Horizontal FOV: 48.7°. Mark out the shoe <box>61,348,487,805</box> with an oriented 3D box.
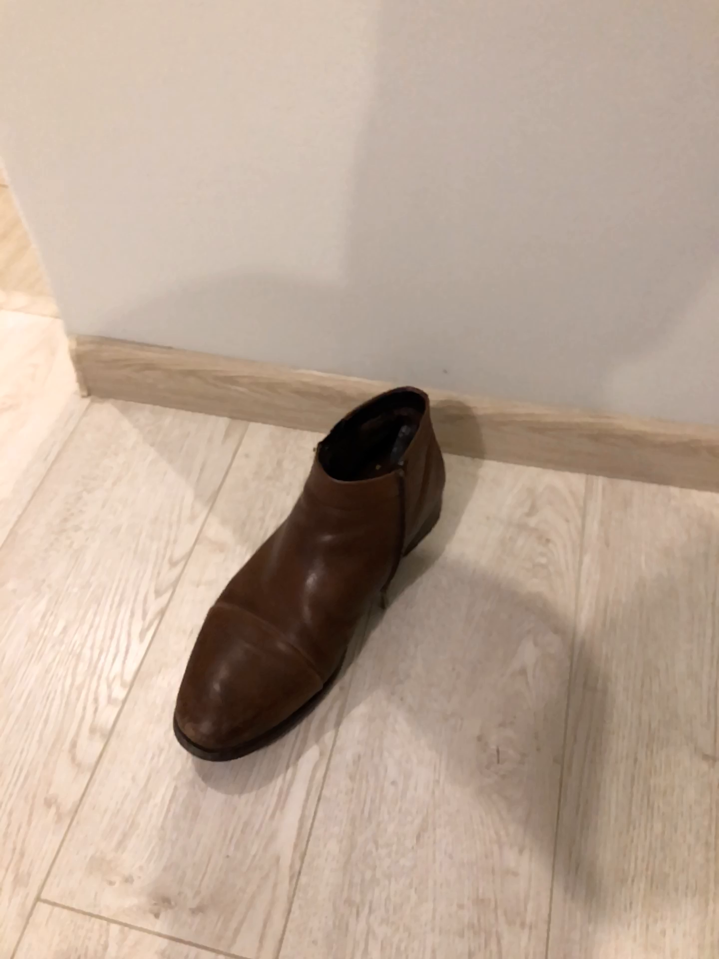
[{"bbox_3d":[-0.043,0.055,0.584,0.120,0.109,0.311,29,58,22],"label":"shoe"}]
